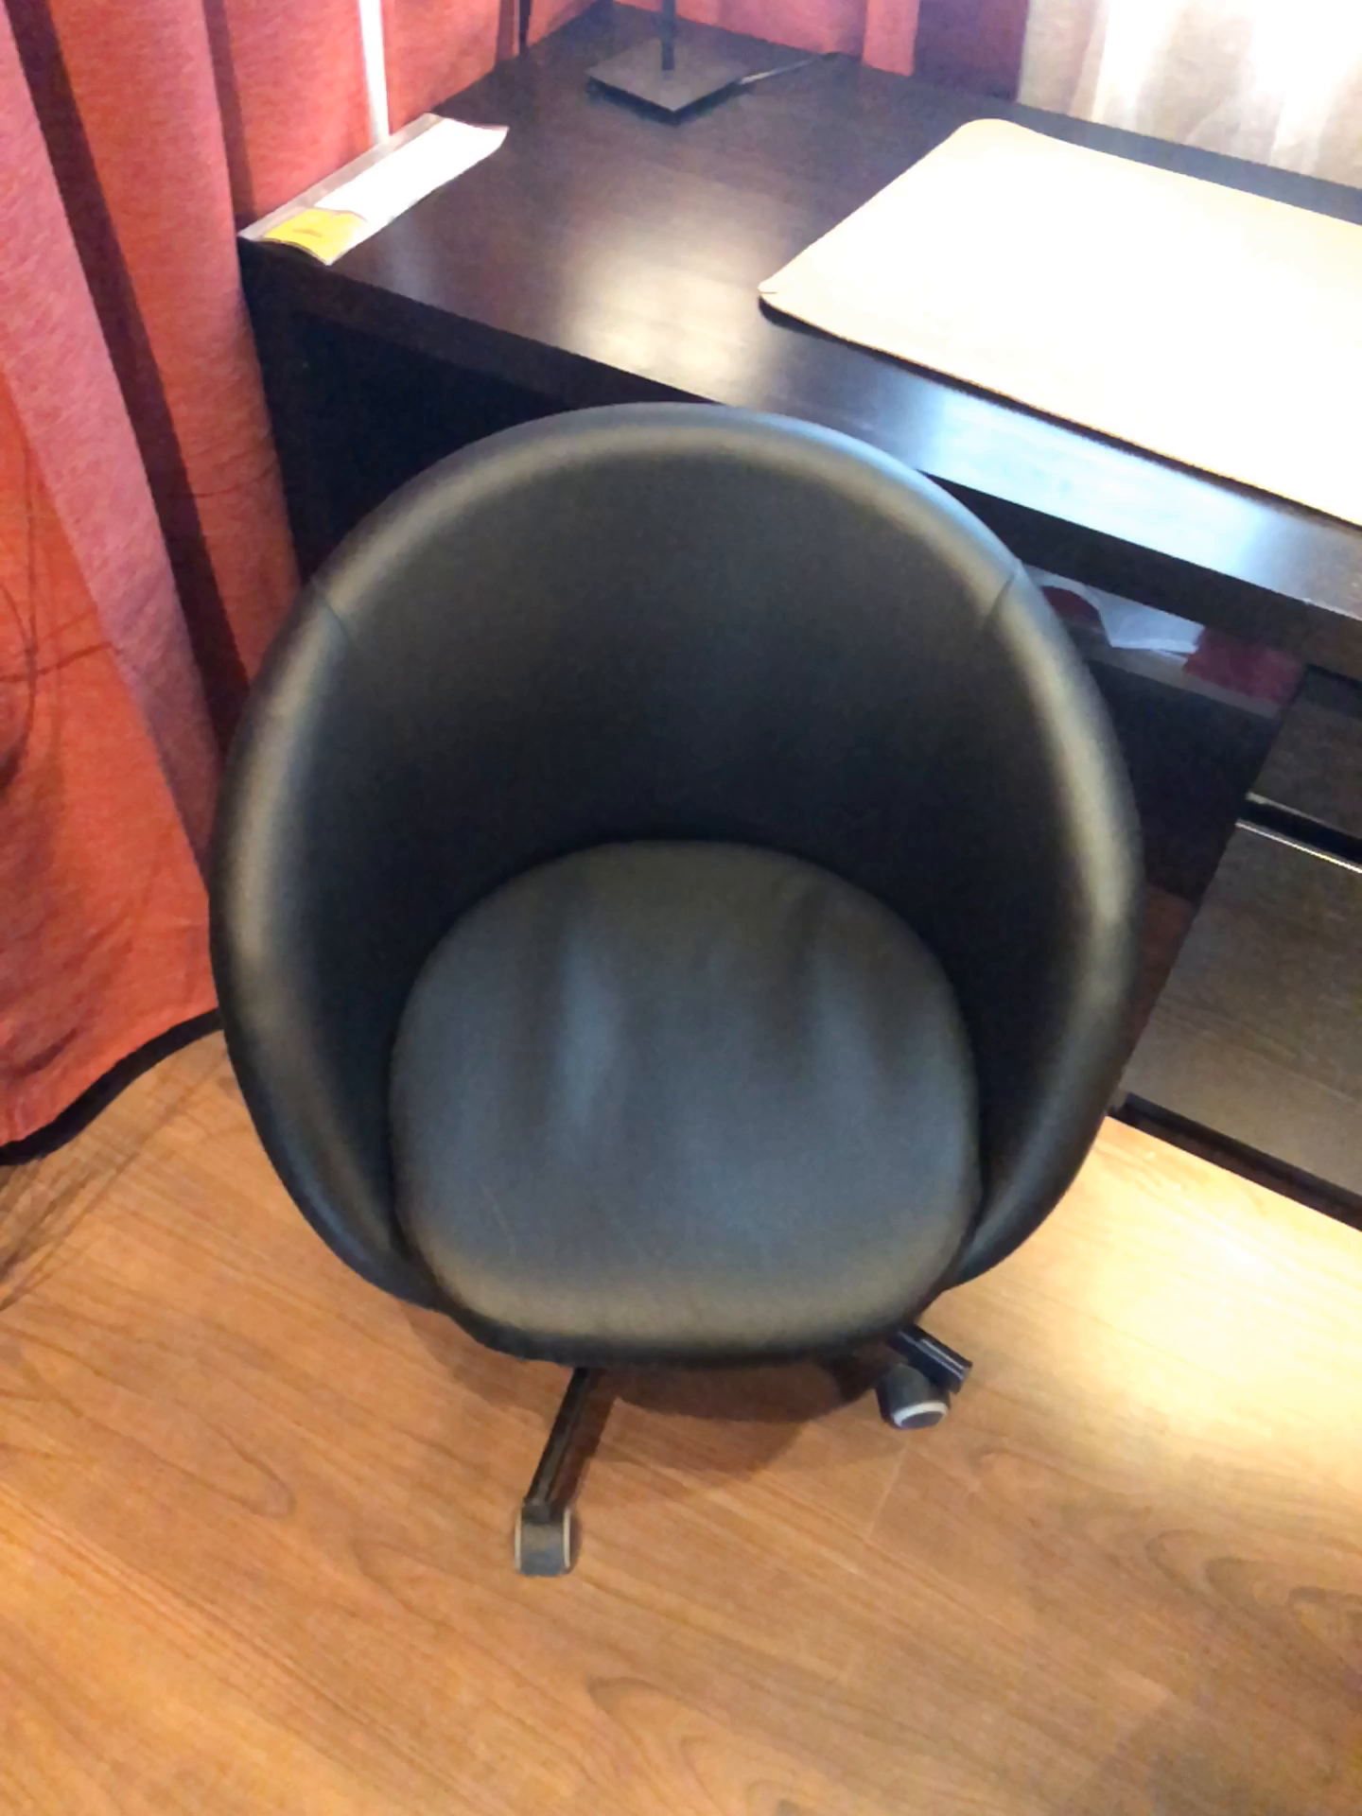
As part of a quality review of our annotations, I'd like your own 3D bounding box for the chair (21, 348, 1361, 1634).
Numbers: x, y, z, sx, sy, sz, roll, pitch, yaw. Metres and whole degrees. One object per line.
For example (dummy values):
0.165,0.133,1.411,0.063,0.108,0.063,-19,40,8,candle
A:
0.013,0.086,1.066,0.630,0.696,0.573,-4,51,-5,chair
